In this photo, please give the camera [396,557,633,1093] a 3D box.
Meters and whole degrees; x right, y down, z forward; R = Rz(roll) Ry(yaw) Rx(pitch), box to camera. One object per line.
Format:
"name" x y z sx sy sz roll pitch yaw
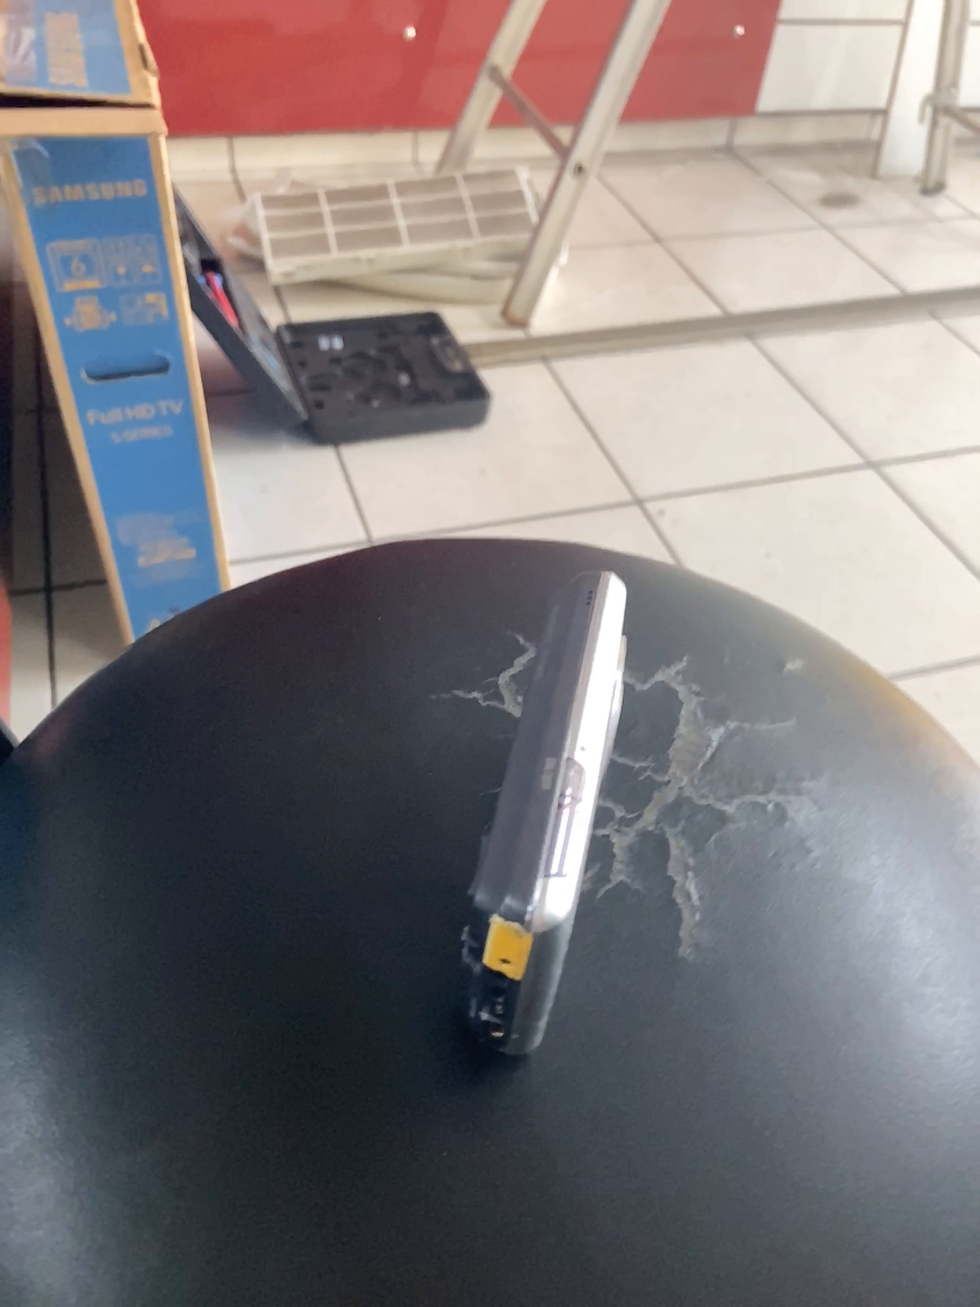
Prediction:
"camera" 0.007 0.035 0.231 0.030 0.060 0.101 11 45 6
